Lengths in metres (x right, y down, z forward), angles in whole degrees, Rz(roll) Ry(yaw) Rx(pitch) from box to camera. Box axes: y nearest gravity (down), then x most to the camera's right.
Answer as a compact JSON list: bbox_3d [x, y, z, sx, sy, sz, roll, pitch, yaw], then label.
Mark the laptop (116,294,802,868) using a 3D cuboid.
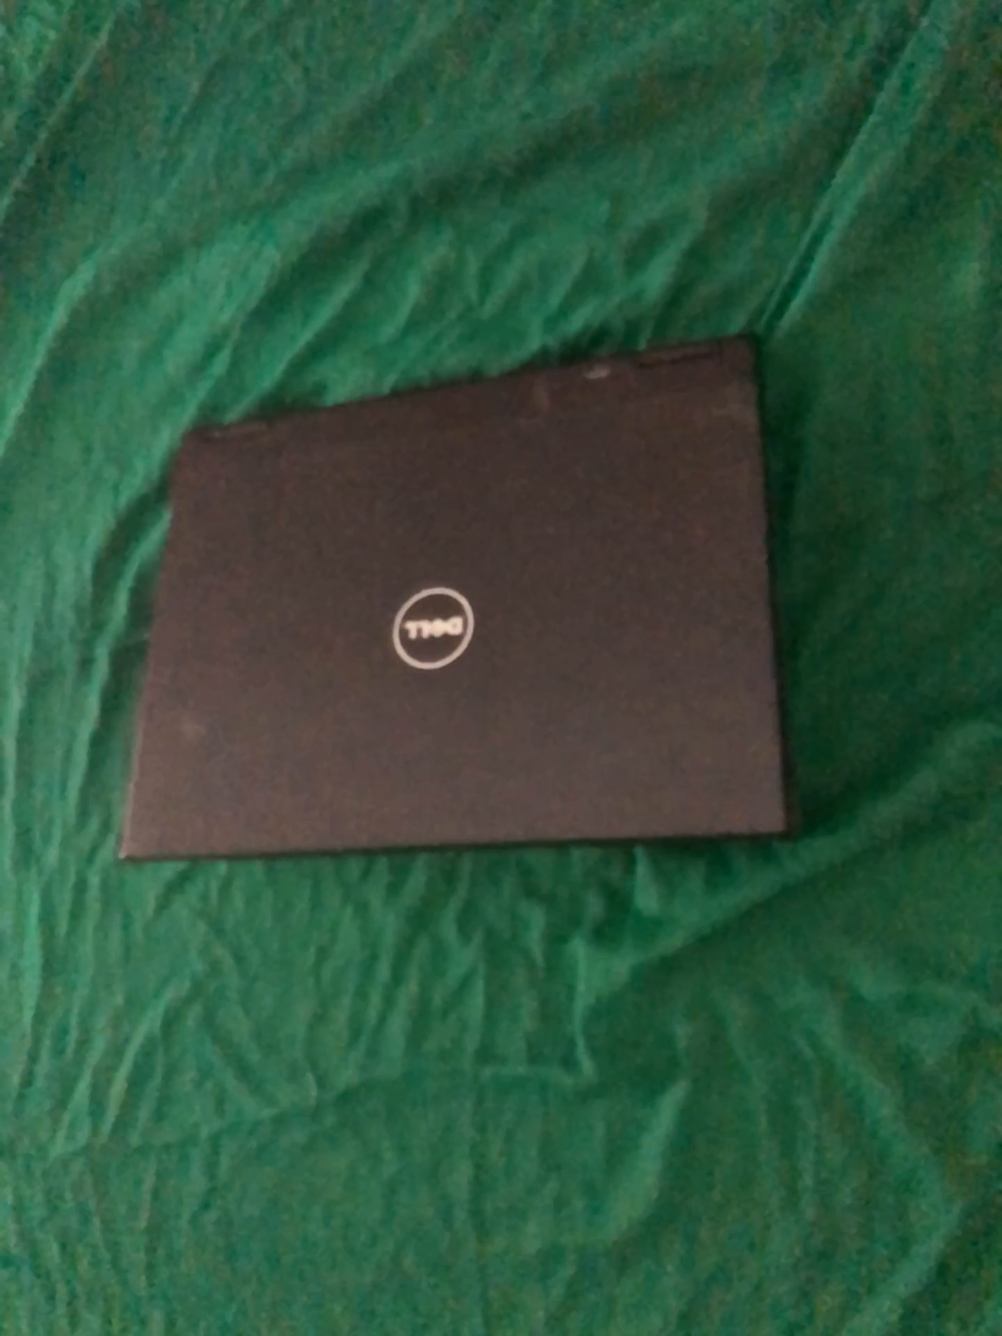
[{"bbox_3d":[-0.024,-0.025,0.537,0.306,0.066,0.226,-5,92,18],"label":"laptop"}]
